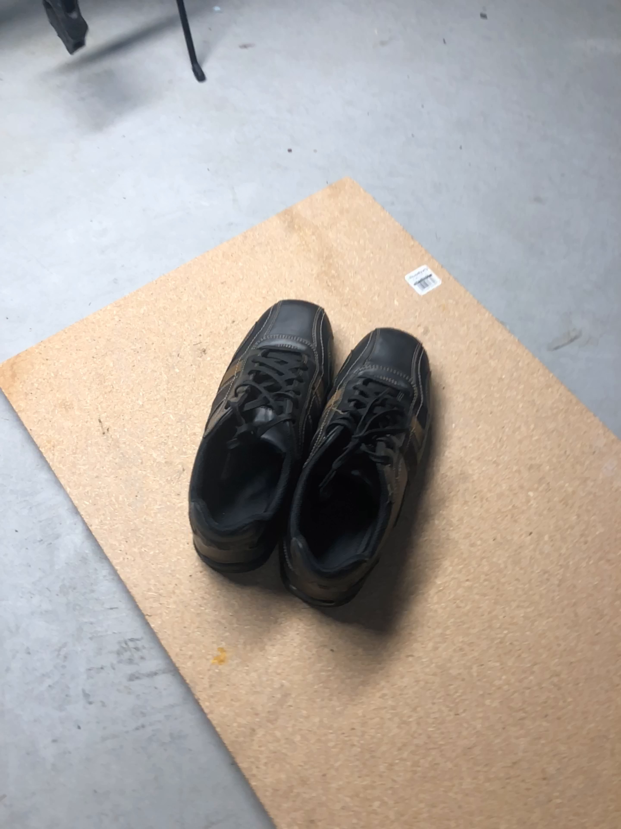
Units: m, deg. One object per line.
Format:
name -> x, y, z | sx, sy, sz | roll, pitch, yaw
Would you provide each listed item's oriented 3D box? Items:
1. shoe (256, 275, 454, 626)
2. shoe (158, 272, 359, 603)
shoe -> 0.051, 0.025, 0.624 | 0.100, 0.100, 0.290 | 11, 64, 13
shoe -> -0.042, 0.014, 0.675 | 0.100, 0.100, 0.300 | 16, 60, 4
